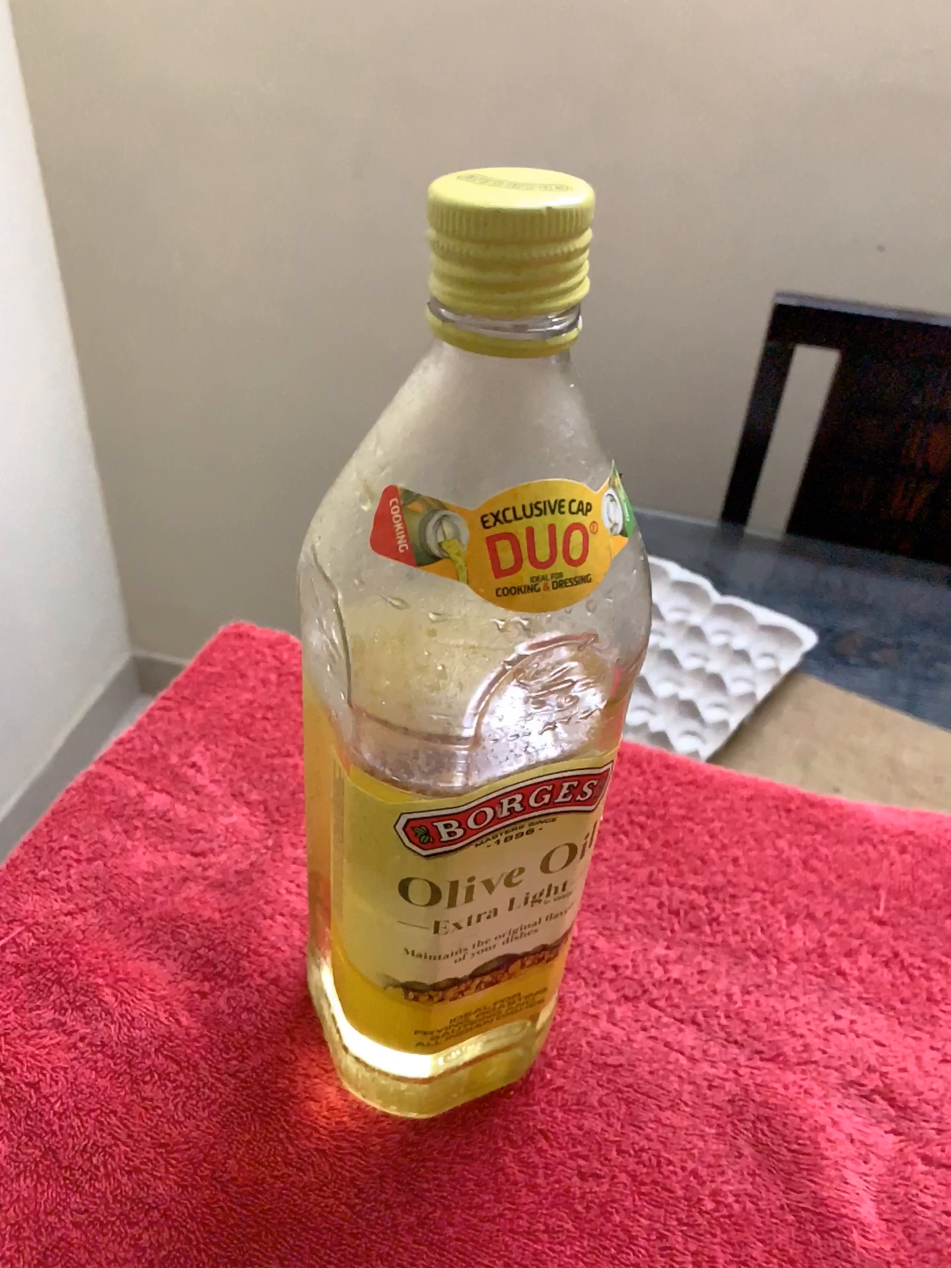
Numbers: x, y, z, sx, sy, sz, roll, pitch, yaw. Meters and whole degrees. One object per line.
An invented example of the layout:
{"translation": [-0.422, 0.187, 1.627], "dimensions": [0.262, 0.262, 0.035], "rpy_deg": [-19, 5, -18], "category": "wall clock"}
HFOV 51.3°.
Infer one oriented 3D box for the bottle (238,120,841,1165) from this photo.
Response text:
{"translation": [-0.002, 0.026, 0.252], "dimensions": [0.080, 0.268, 0.070], "rpy_deg": [-12, 42, -20], "category": "bottle"}
